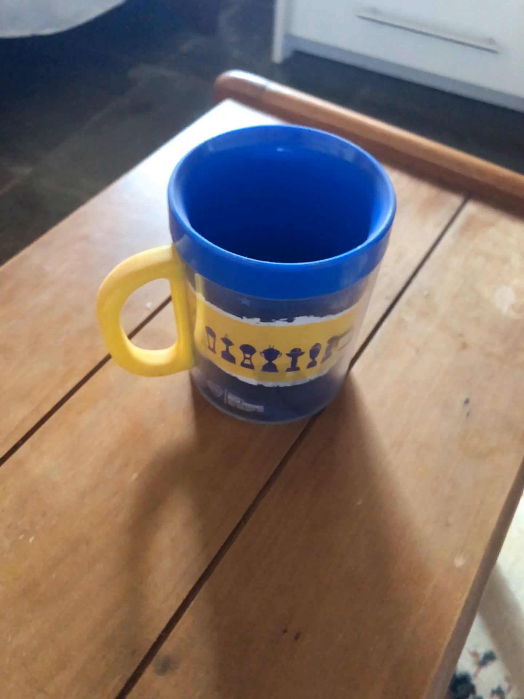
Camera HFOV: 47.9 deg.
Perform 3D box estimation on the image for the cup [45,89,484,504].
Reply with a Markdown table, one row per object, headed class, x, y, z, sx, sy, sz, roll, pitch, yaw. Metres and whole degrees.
| class | x | y | z | sx | sy | sz | roll | pitch | yaw |
| --- | --- | --- | --- | --- | --- | --- | --- | --- | --- |
| cup | -0.005 | -0.021 | 0.238 | 0.120 | 0.109 | 0.090 | -17 | 55 | -16 |
